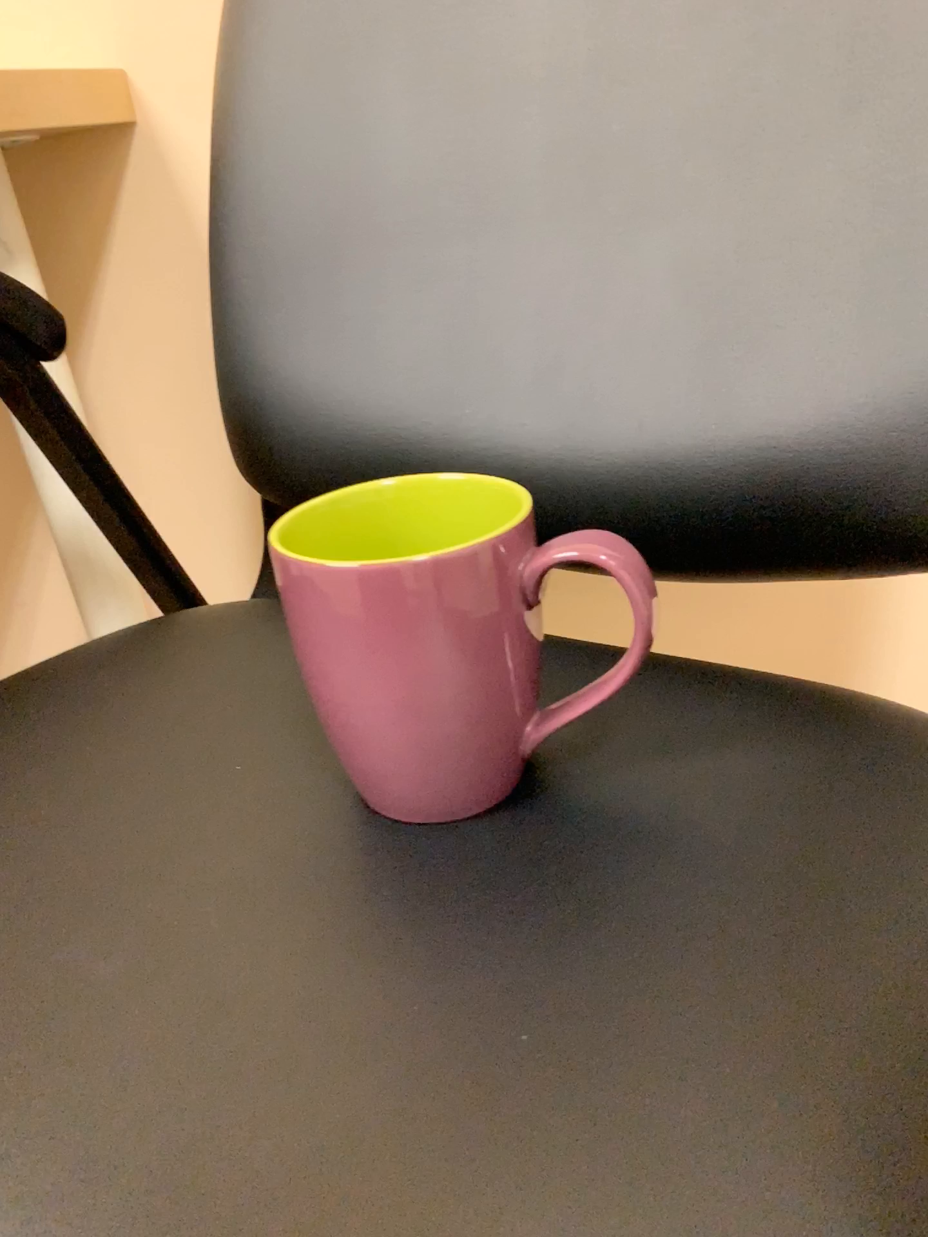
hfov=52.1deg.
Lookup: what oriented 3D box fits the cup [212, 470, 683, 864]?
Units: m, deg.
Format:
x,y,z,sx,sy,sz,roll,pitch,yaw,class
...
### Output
x,y,z,sx,sy,sz,roll,pitch,yaw,class
0.002,0.012,0.362,0.143,0.109,0.090,2,28,21,cup
